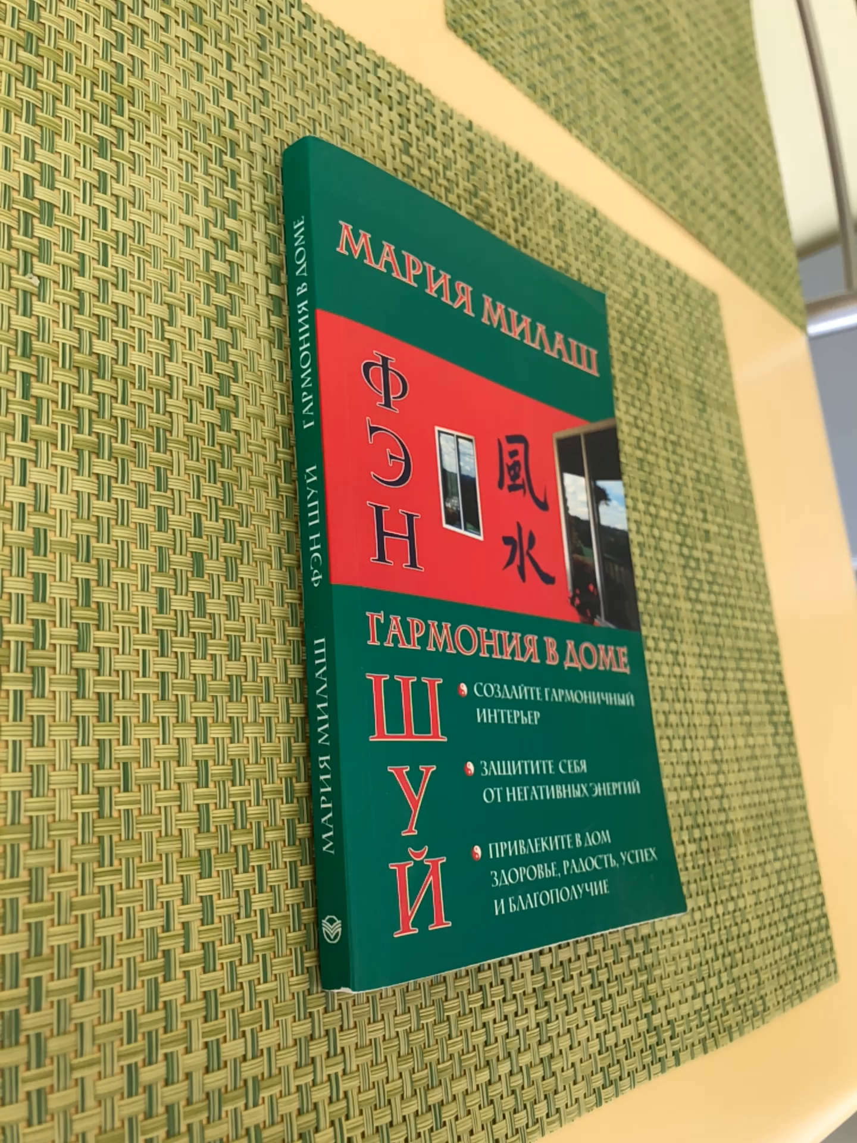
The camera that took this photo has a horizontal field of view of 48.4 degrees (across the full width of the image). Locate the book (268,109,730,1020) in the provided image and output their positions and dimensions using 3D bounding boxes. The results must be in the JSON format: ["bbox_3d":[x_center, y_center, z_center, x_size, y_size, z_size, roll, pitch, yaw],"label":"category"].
[{"bbox_3d":[0.023,-0.003,0.256,0.137,0.020,0.200,10,69,-44],"label":"book"}]
